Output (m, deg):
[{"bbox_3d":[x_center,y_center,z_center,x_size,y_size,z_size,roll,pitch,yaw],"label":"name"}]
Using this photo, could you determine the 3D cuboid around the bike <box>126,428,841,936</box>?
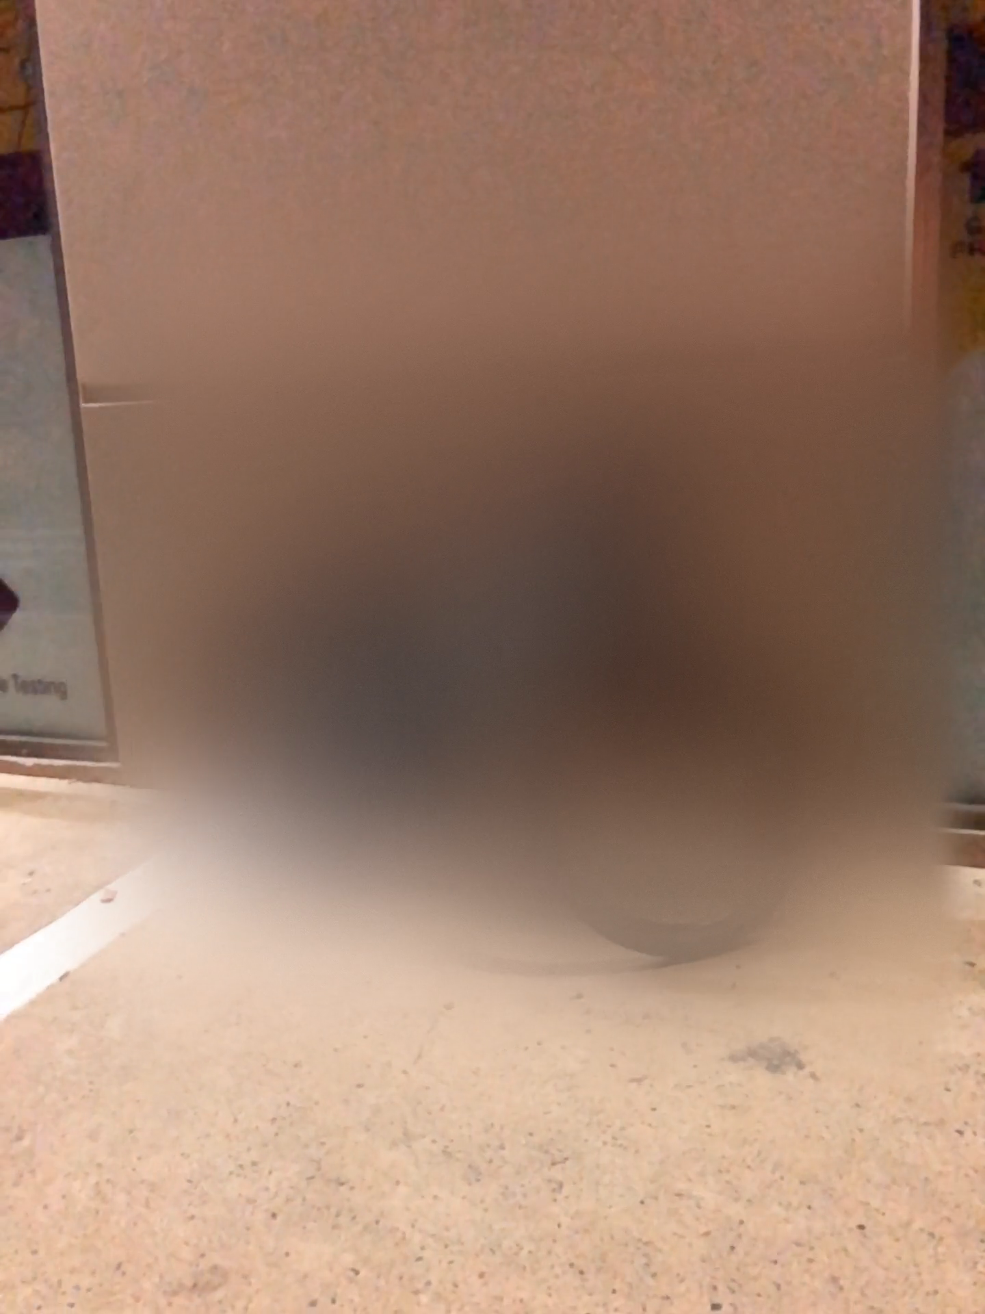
[{"bbox_3d":[-0.015,0.003,2.784,1.602,1.065,0.588,2,12,22],"label":"bike"}]
